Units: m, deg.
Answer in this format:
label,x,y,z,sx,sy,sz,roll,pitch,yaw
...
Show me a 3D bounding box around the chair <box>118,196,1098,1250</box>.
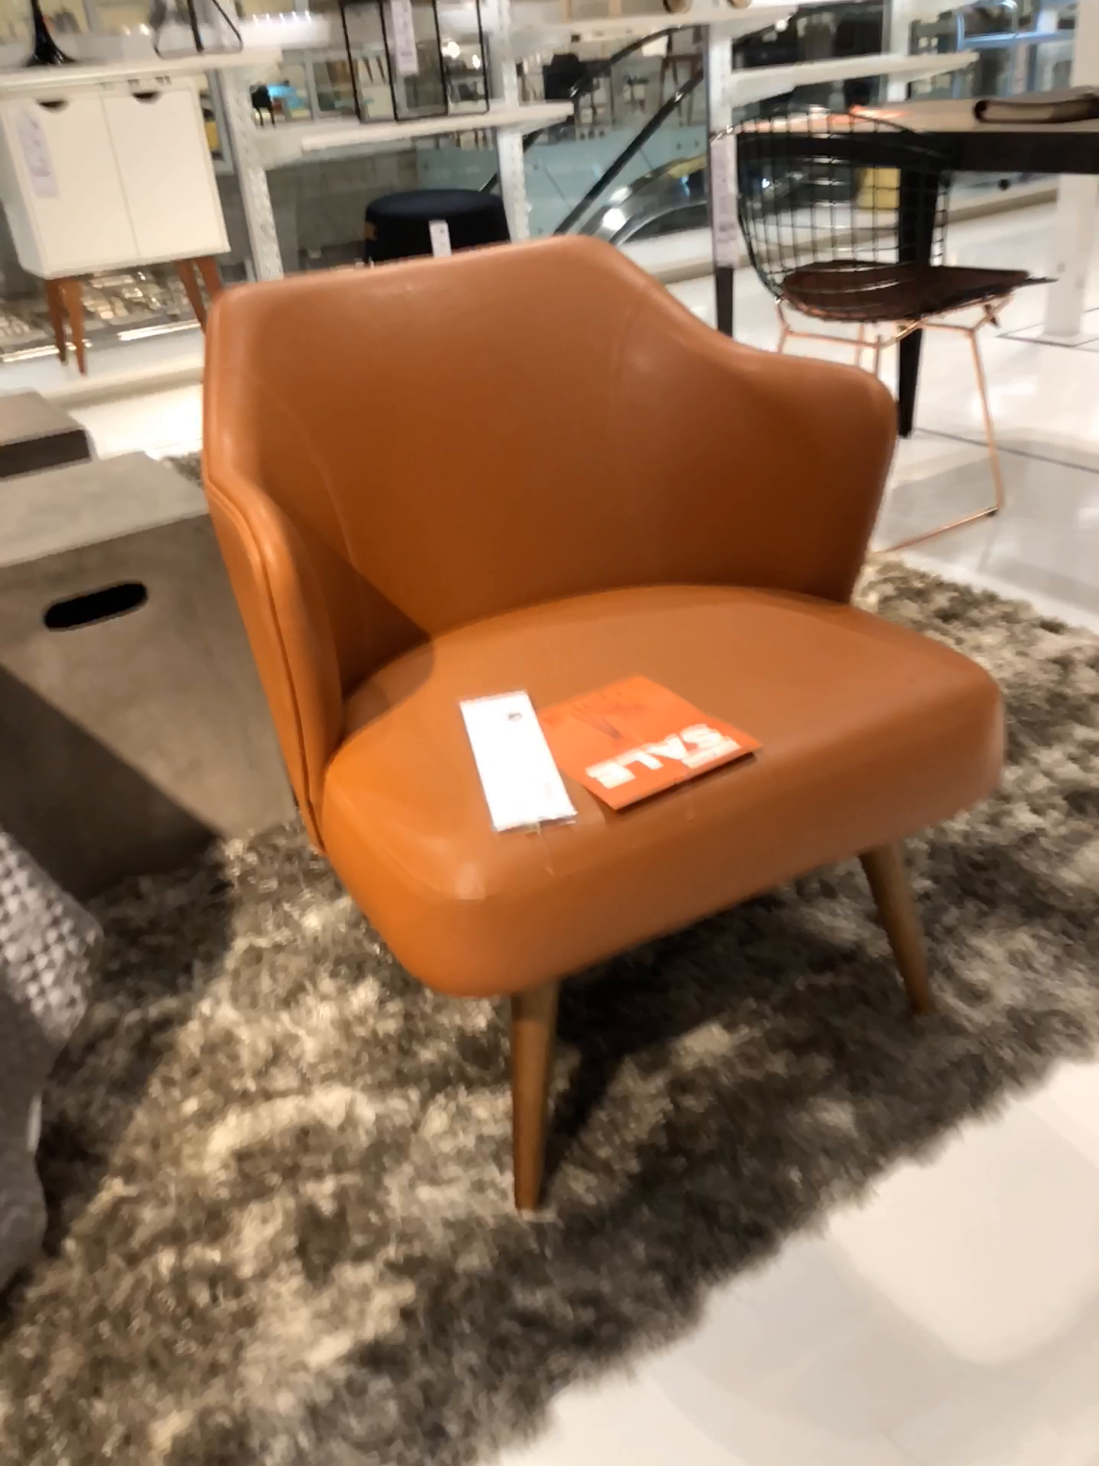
label,x,y,z,sx,sy,sz,roll,pitch,yaw
chair,0.019,-0.098,1.196,0.591,0.704,0.655,-18,31,-22
